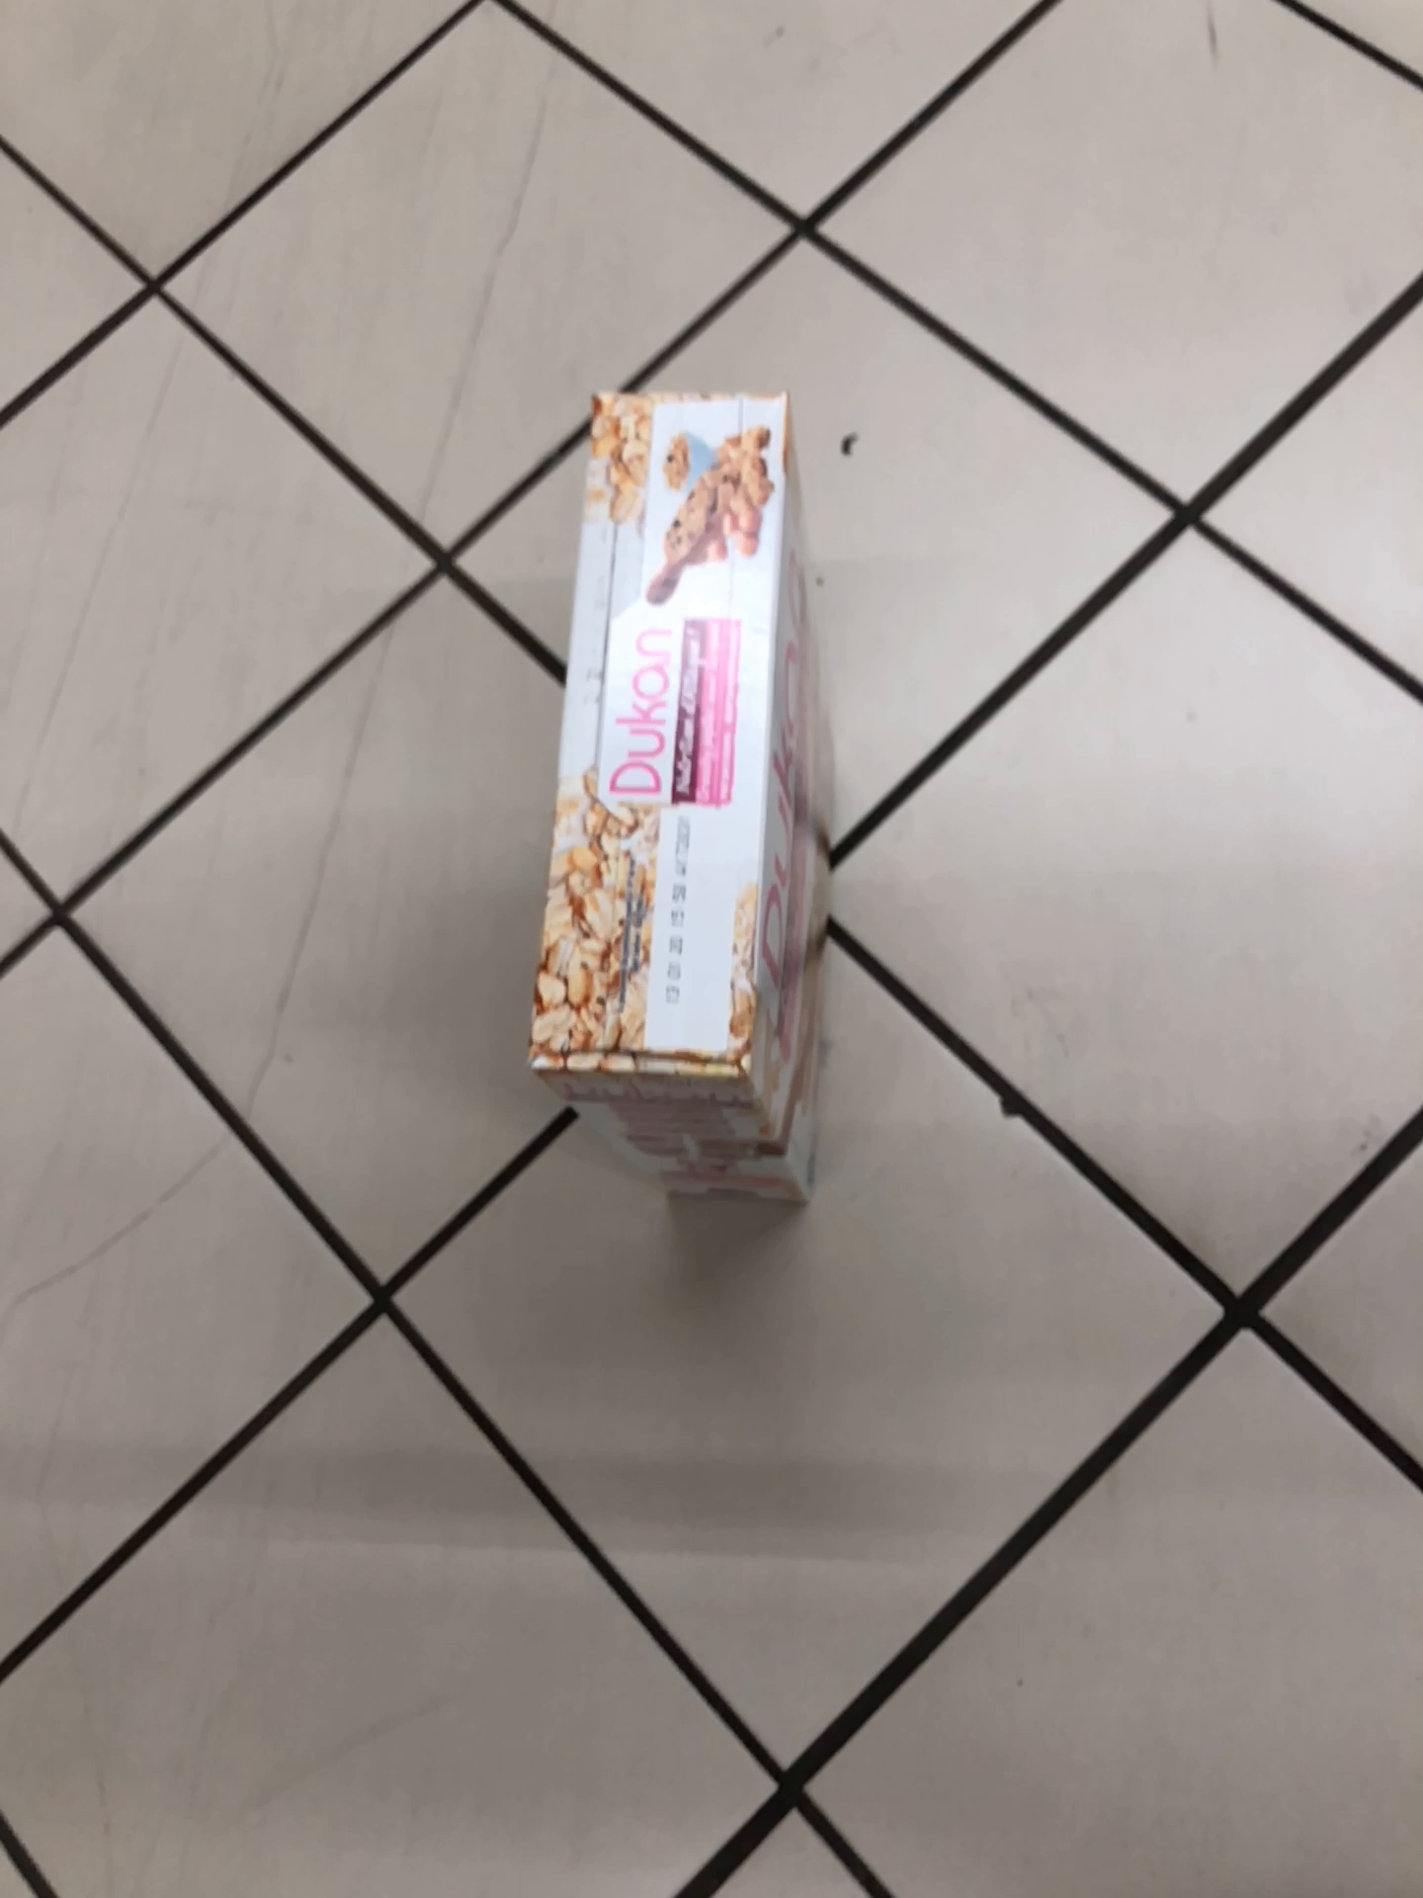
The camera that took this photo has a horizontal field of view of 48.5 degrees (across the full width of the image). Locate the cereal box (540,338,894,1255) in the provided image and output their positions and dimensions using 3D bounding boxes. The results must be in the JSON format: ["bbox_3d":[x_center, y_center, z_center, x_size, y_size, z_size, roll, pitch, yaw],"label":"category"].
[{"bbox_3d":[0.015,-0.023,0.443,0.060,0.200,0.190,0,72,10],"label":"cereal box"}]
